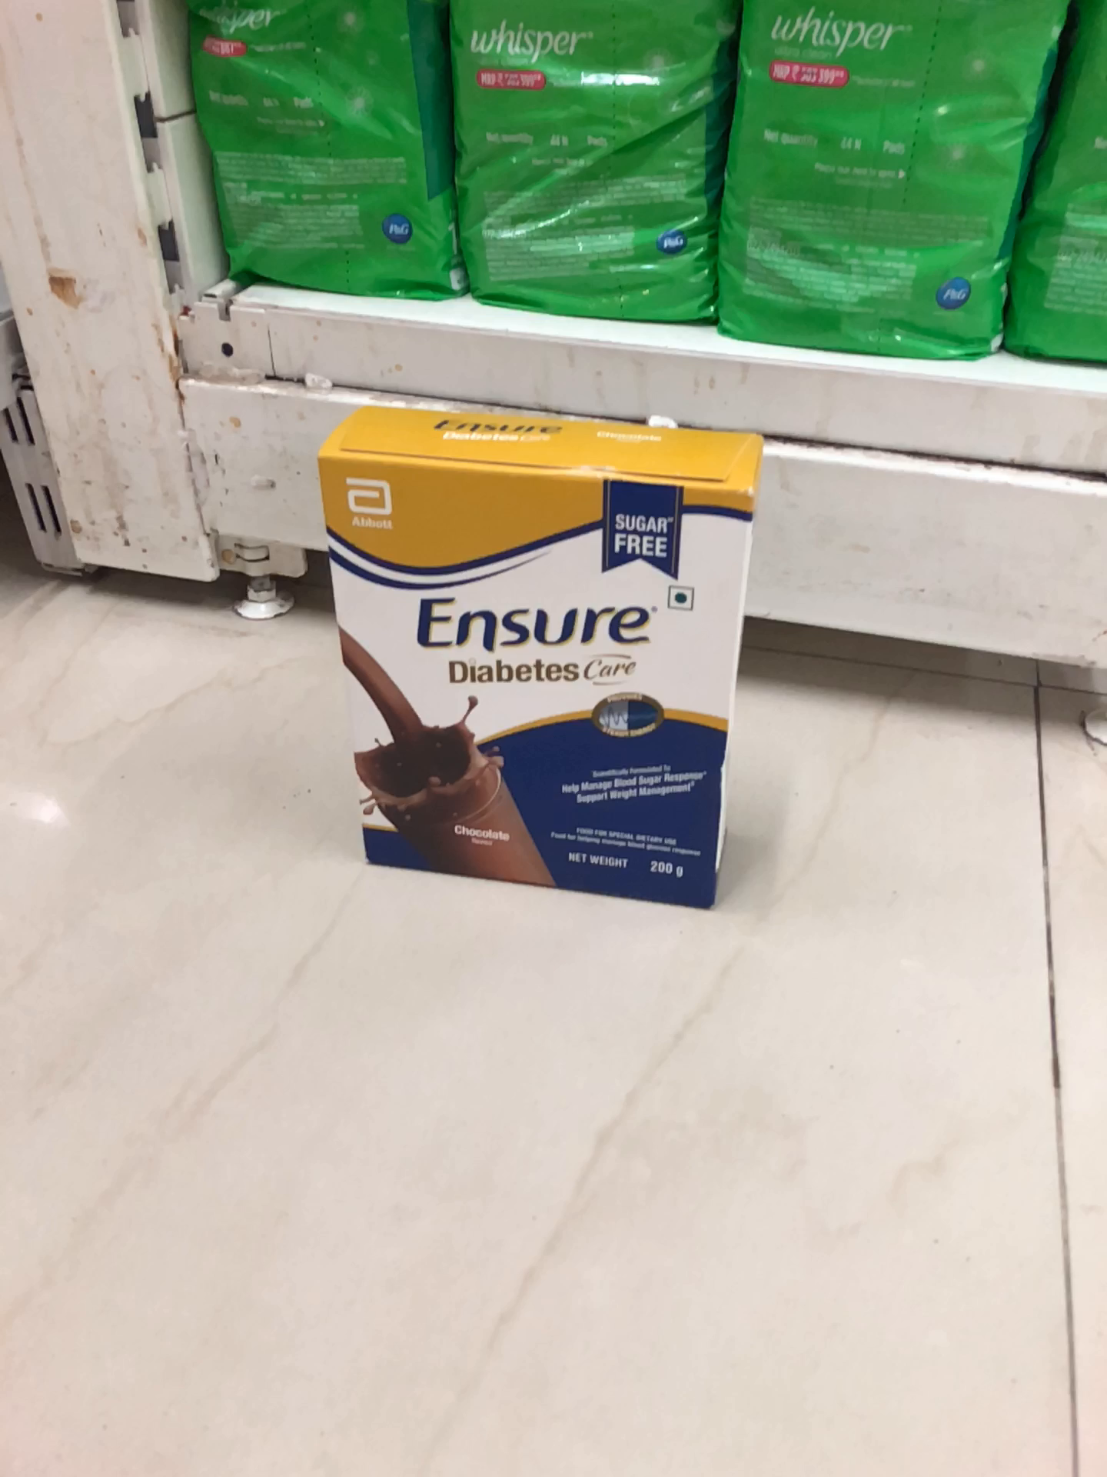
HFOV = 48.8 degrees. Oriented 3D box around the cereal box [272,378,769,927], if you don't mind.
[{"bbox_3d":[-0.007,-0.025,0.412,0.140,0.169,0.050,7,36,11],"label":"cereal box"}]
